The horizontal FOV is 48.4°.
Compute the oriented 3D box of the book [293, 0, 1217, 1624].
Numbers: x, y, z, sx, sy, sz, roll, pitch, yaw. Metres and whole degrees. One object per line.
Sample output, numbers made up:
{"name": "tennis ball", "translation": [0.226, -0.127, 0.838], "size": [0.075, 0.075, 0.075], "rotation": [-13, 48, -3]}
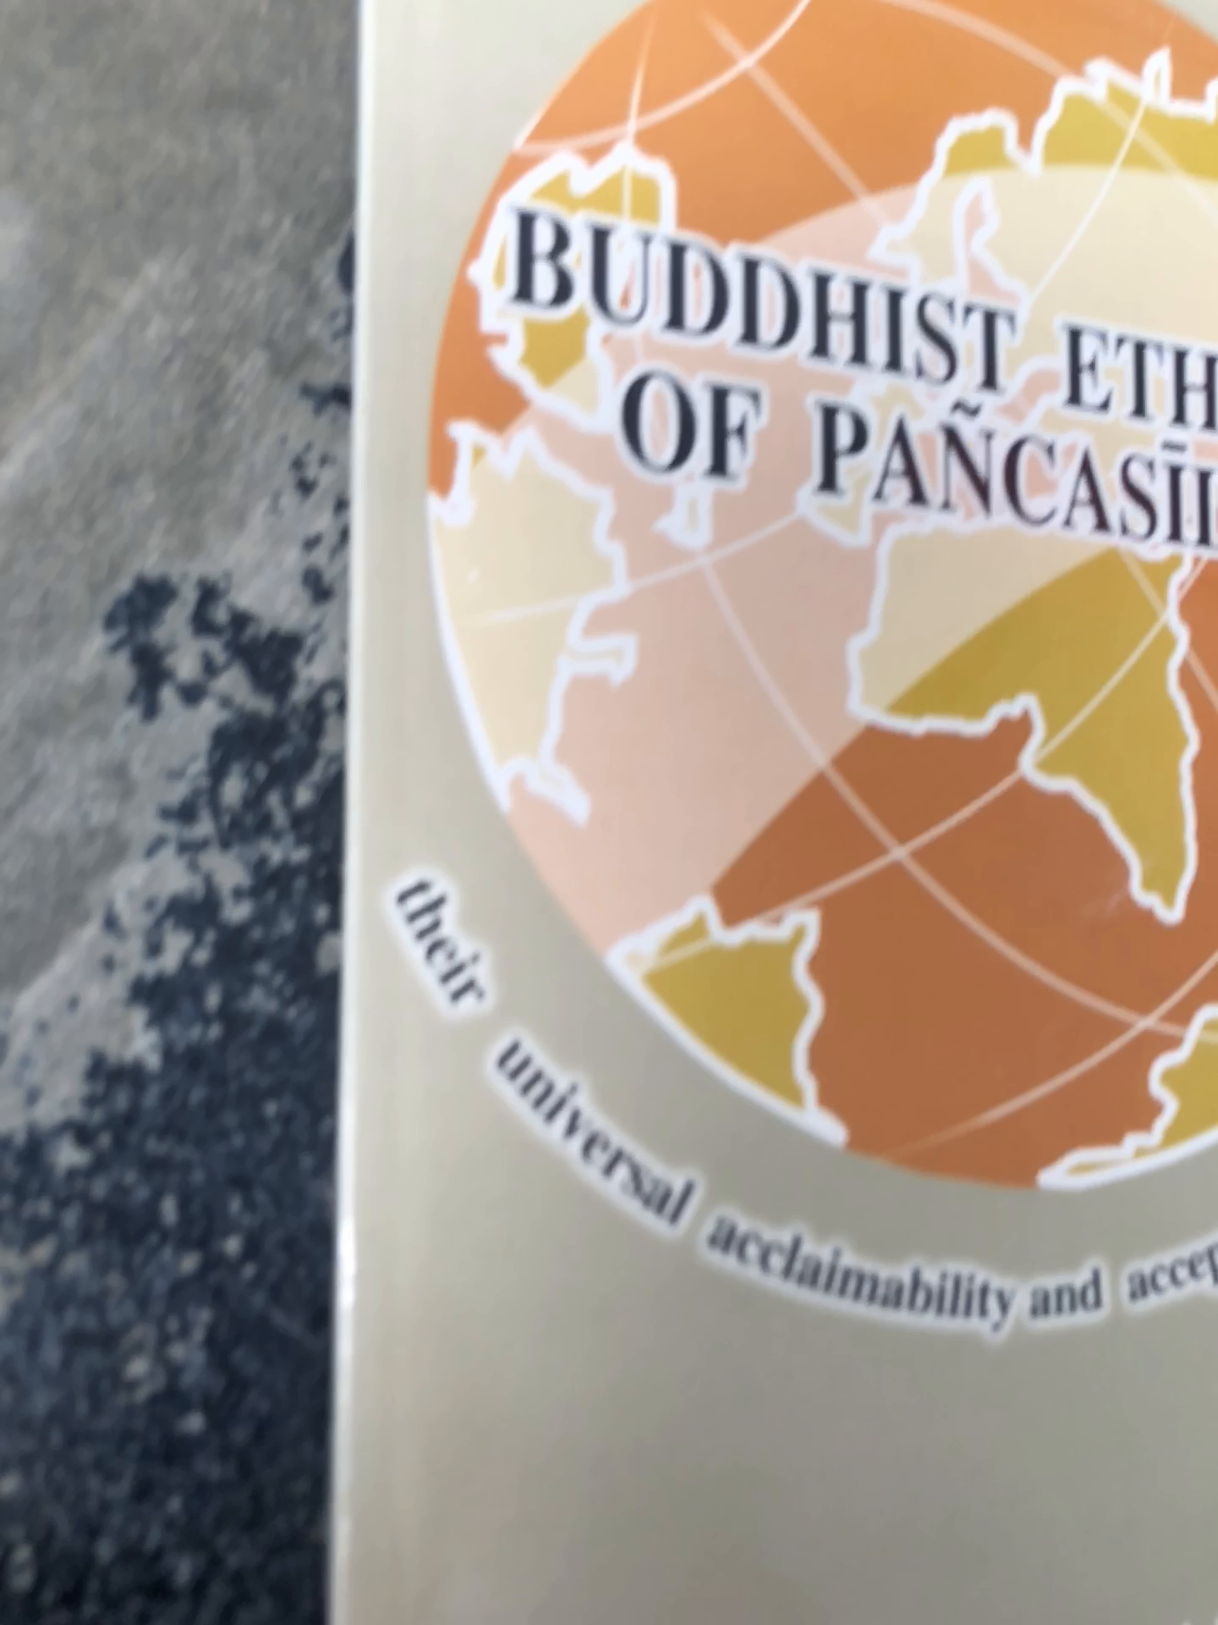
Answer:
{"name": "book", "translation": [0.039, -0.004, 0.142], "size": [0.141, 0.010, 0.220], "rotation": [1, 85, -22]}
